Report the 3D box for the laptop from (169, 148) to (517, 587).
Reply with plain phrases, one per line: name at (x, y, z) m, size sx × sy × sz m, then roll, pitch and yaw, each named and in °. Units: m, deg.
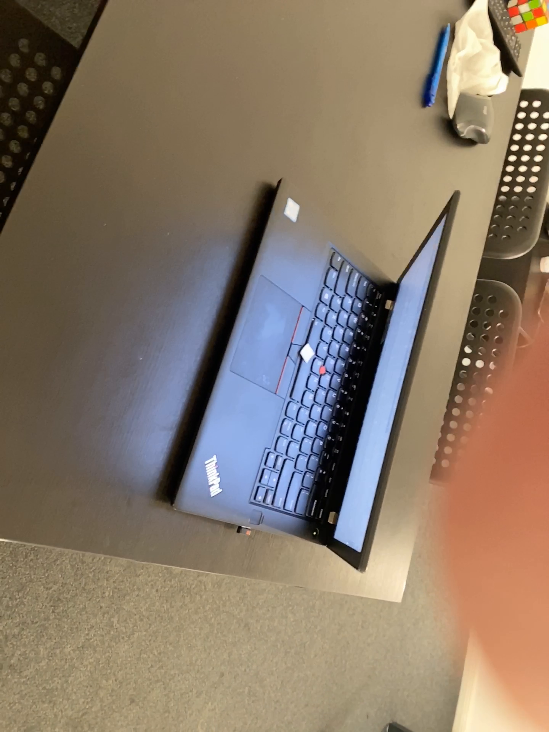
laptop at (0.079, 0.014, 0.501) m, size 0.217 × 0.138 × 0.299 m, roll 28°, pitch 73°, yaw -43°
